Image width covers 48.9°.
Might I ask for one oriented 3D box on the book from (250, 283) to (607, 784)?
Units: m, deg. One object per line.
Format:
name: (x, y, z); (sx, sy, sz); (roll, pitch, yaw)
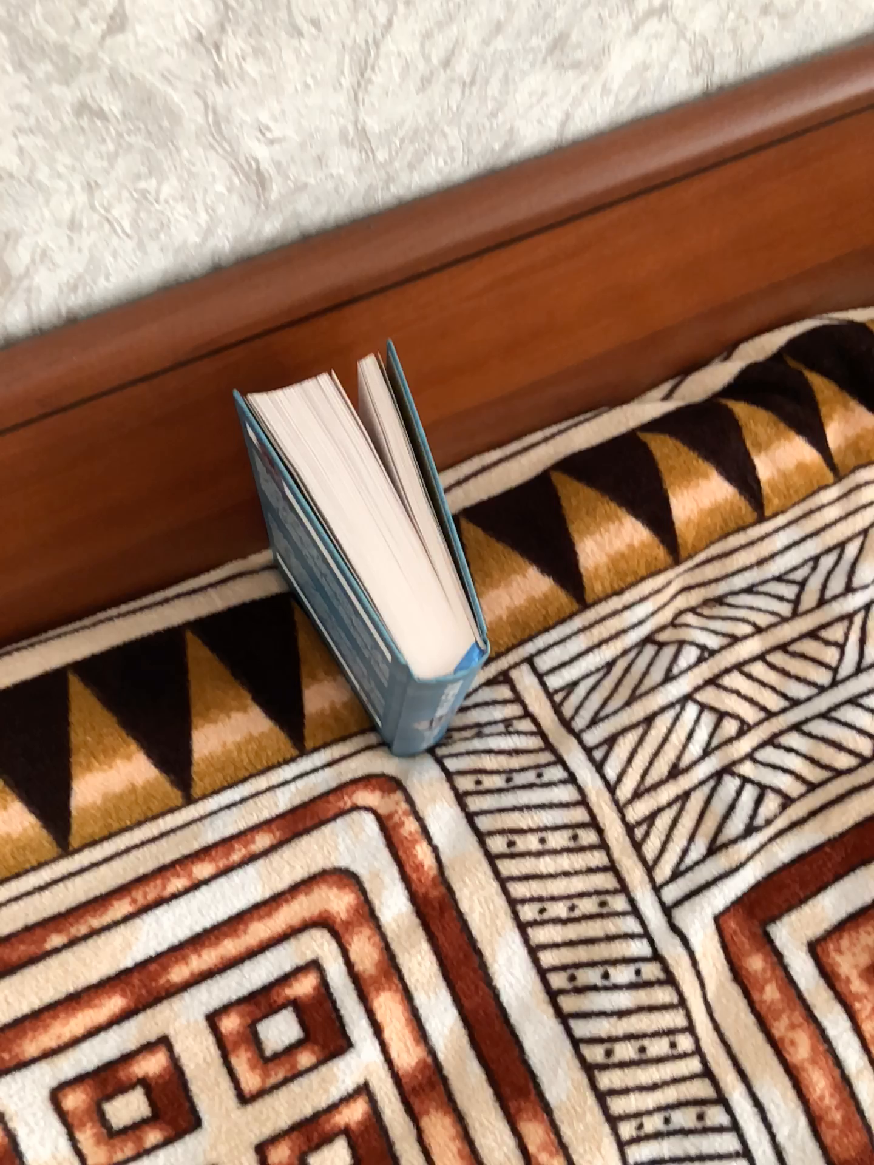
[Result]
book: (-0.014, -0.007, 0.463); (0.078, 0.200, 0.160); (-22, 73, -12)
